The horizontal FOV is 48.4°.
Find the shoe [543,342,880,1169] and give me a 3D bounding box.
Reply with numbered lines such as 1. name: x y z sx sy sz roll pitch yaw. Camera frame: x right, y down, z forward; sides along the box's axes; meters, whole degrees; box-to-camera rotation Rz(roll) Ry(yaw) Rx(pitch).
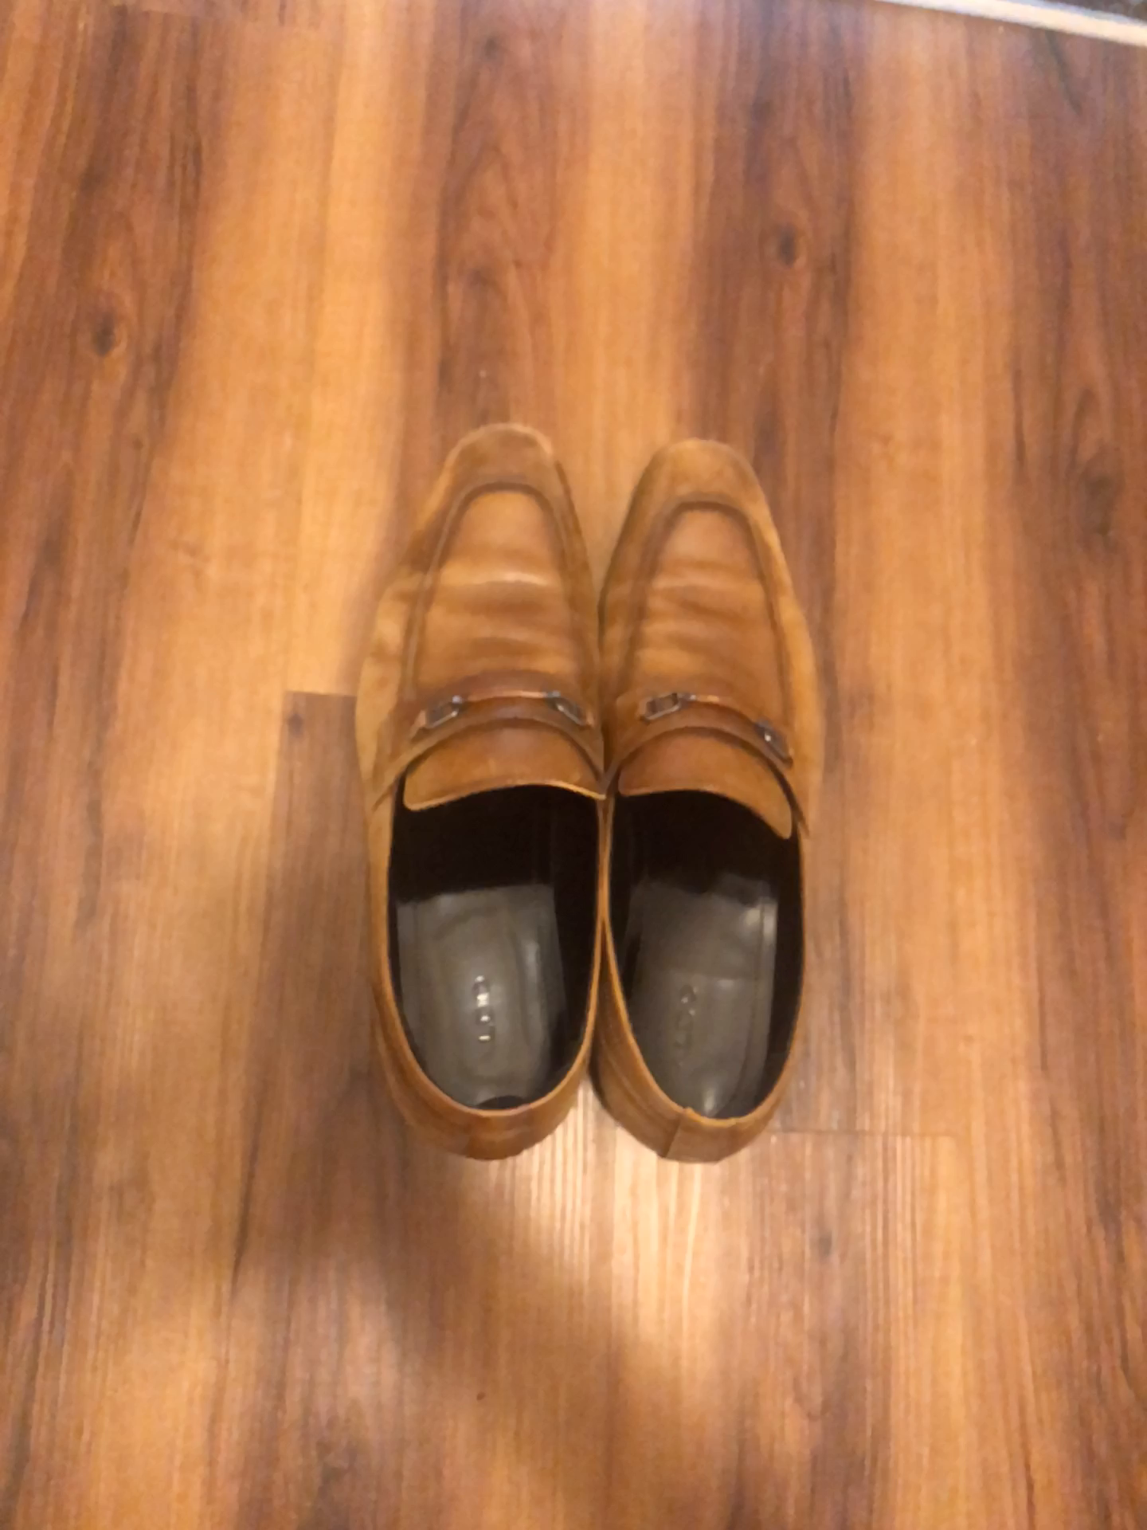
1. shoe: 0.055 -0.001 0.530 0.106 0.112 0.308 5 78 -7

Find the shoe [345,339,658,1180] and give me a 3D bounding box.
1. shoe: -0.035 -0.001 0.519 0.106 0.112 0.308 0 78 -8
